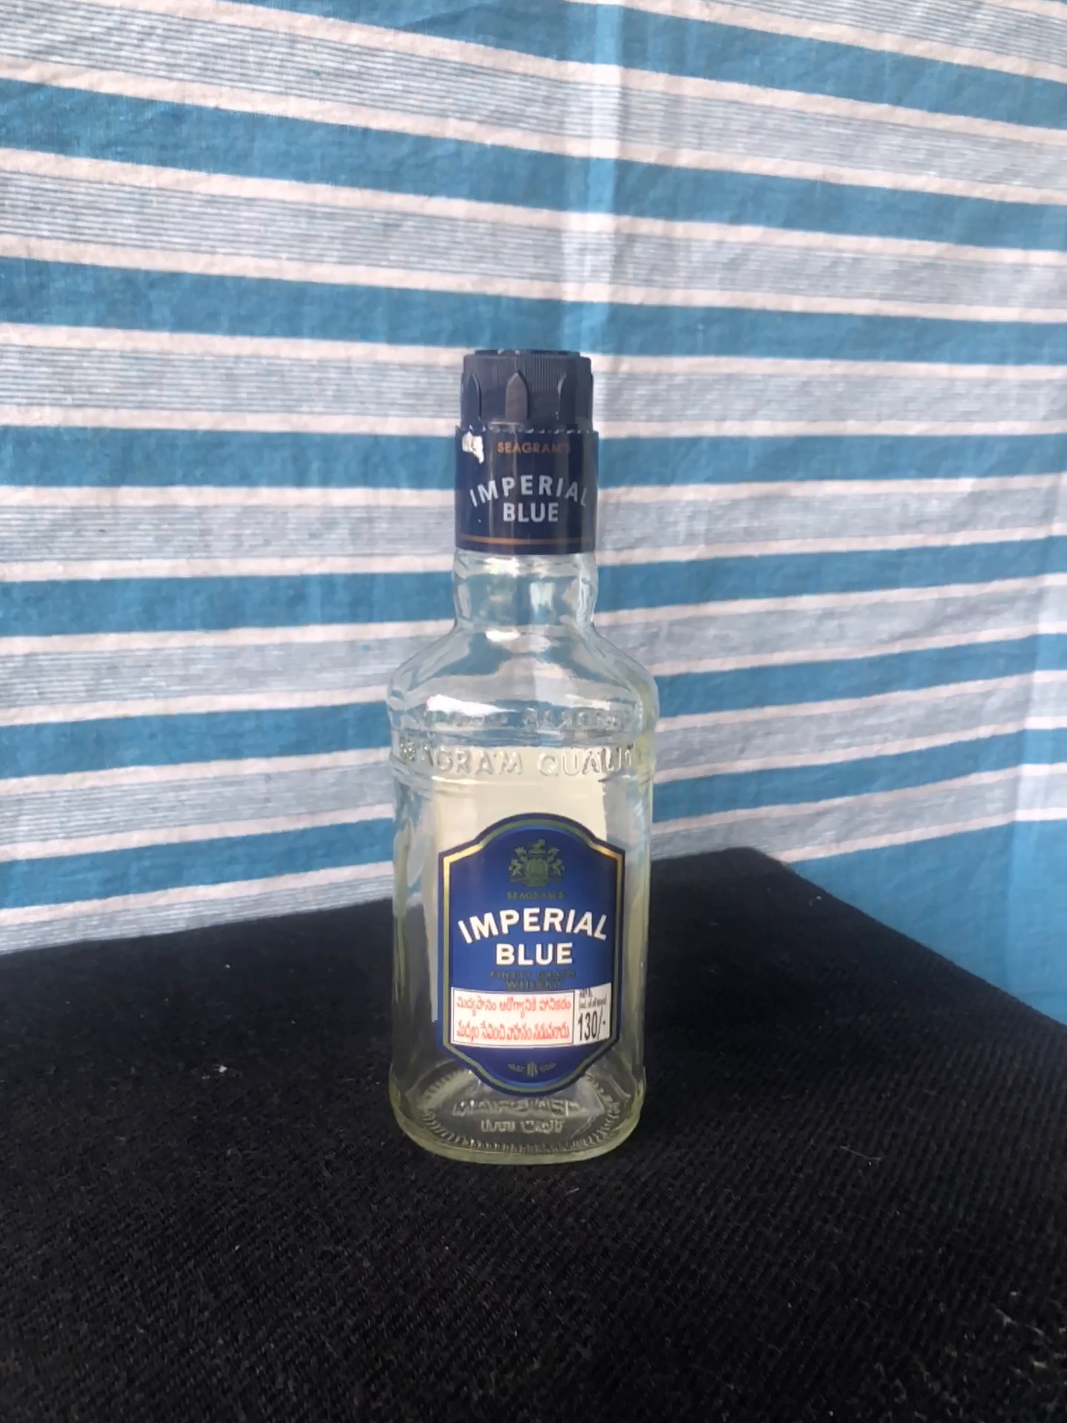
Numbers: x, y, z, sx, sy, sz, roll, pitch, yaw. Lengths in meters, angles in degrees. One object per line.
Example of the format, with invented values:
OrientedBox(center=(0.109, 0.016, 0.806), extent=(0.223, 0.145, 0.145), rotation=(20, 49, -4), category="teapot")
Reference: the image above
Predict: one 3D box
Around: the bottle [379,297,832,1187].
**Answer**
OrientedBox(center=(0.008, 0.008, 0.246), extent=(0.070, 0.169, 0.050), rotation=(3, 15, -6), category="bottle")
